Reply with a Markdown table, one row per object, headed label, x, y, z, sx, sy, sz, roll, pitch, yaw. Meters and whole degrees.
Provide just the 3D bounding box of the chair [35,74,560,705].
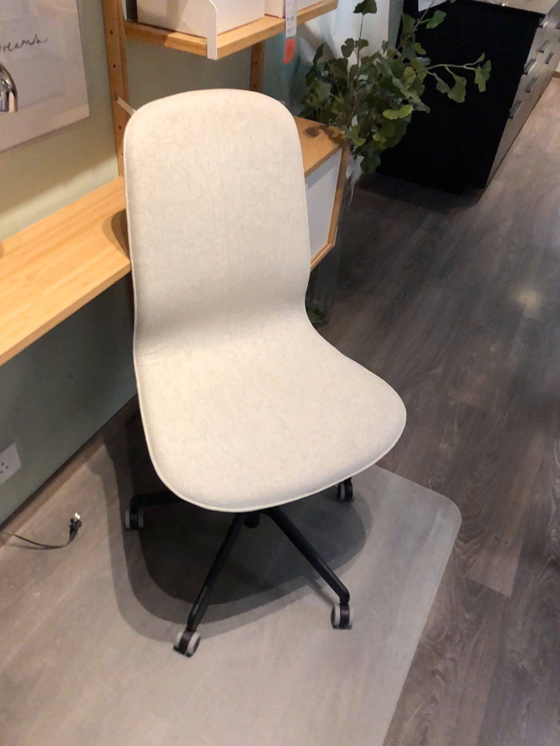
| label | x | y | z | sx | sy | sz | roll | pitch | yaw |
| --- | --- | --- | --- | --- | --- | --- | --- | --- | --- |
| chair | -0.020 | 0.015 | 1.193 | 0.621 | 0.904 | 0.653 | -14 | 45 | -21 |
